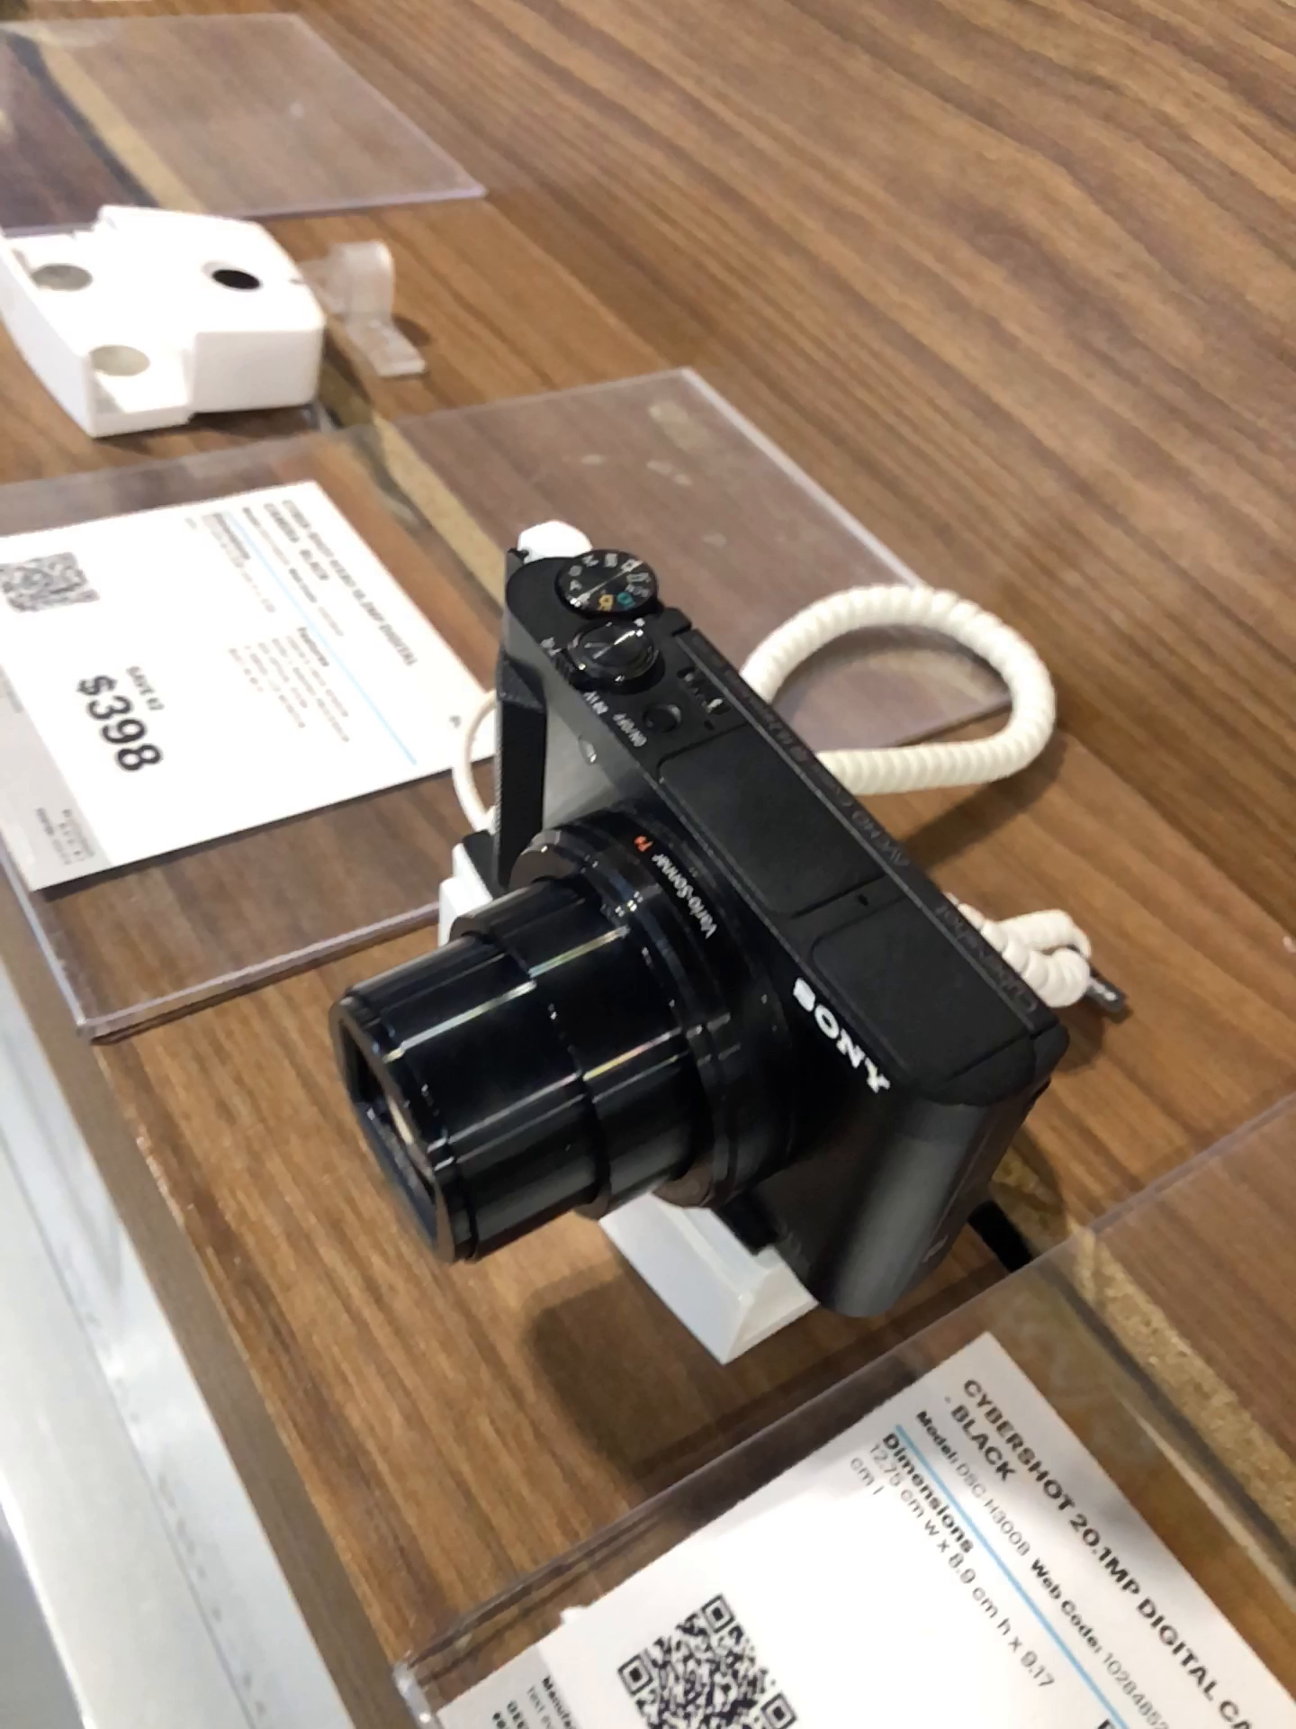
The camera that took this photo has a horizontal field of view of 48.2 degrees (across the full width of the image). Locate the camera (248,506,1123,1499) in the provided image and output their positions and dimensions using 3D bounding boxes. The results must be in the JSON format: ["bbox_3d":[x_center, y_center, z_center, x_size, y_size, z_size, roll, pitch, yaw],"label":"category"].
[{"bbox_3d":[-0.005,0.013,0.197,0.060,0.070,0.100,-18,54,-31],"label":"camera"}]
